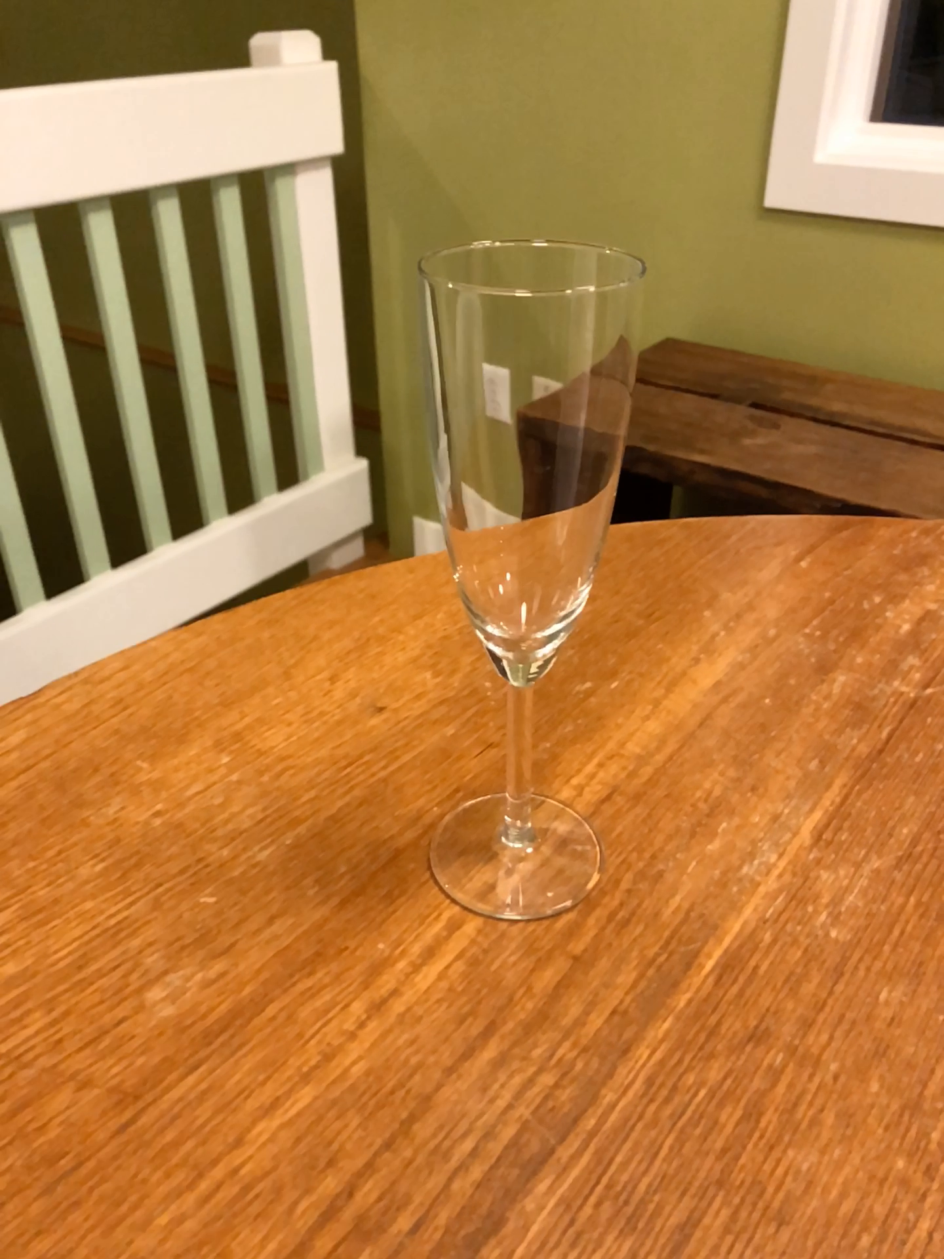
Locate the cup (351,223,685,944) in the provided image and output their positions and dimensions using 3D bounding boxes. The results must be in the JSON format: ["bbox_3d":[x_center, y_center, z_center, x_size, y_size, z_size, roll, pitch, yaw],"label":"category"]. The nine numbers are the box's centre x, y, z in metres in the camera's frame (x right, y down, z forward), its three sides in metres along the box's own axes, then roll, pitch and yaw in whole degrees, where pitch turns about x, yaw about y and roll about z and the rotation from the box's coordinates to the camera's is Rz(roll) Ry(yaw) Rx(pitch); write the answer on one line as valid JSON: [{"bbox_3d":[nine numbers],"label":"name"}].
[{"bbox_3d":[0.016,-0.010,0.340,0.066,0.215,0.074,14,34,23],"label":"cup"}]
